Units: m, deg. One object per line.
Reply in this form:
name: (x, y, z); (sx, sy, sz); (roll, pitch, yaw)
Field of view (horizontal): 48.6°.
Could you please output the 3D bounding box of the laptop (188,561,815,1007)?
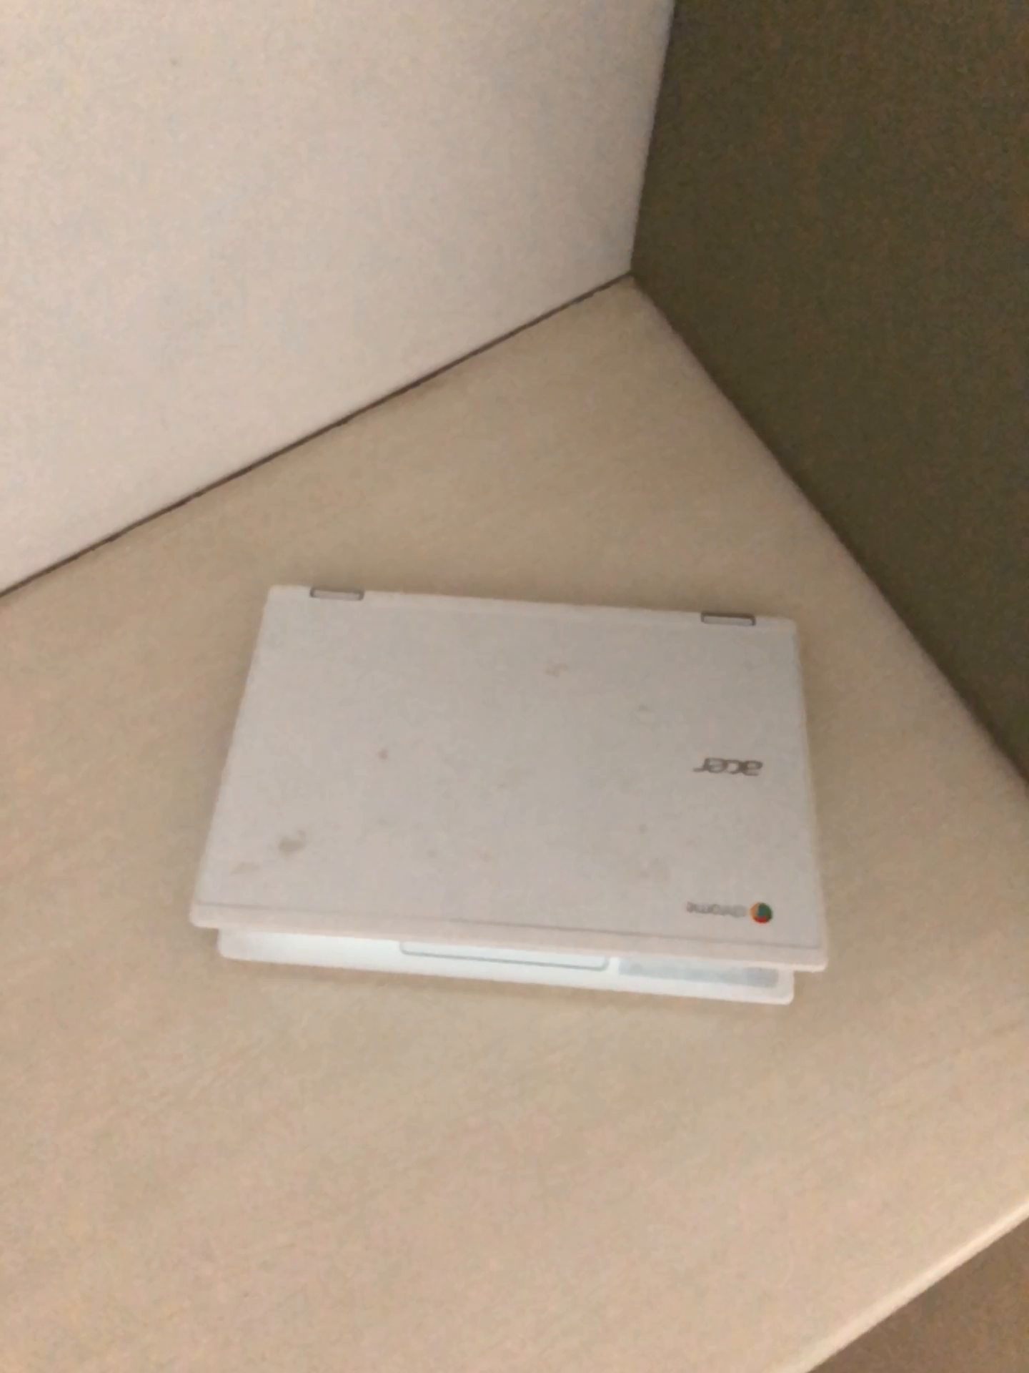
laptop: (0.001, 0.047, 0.566); (0.282, 0.055, 0.192); (4, 72, 2)
